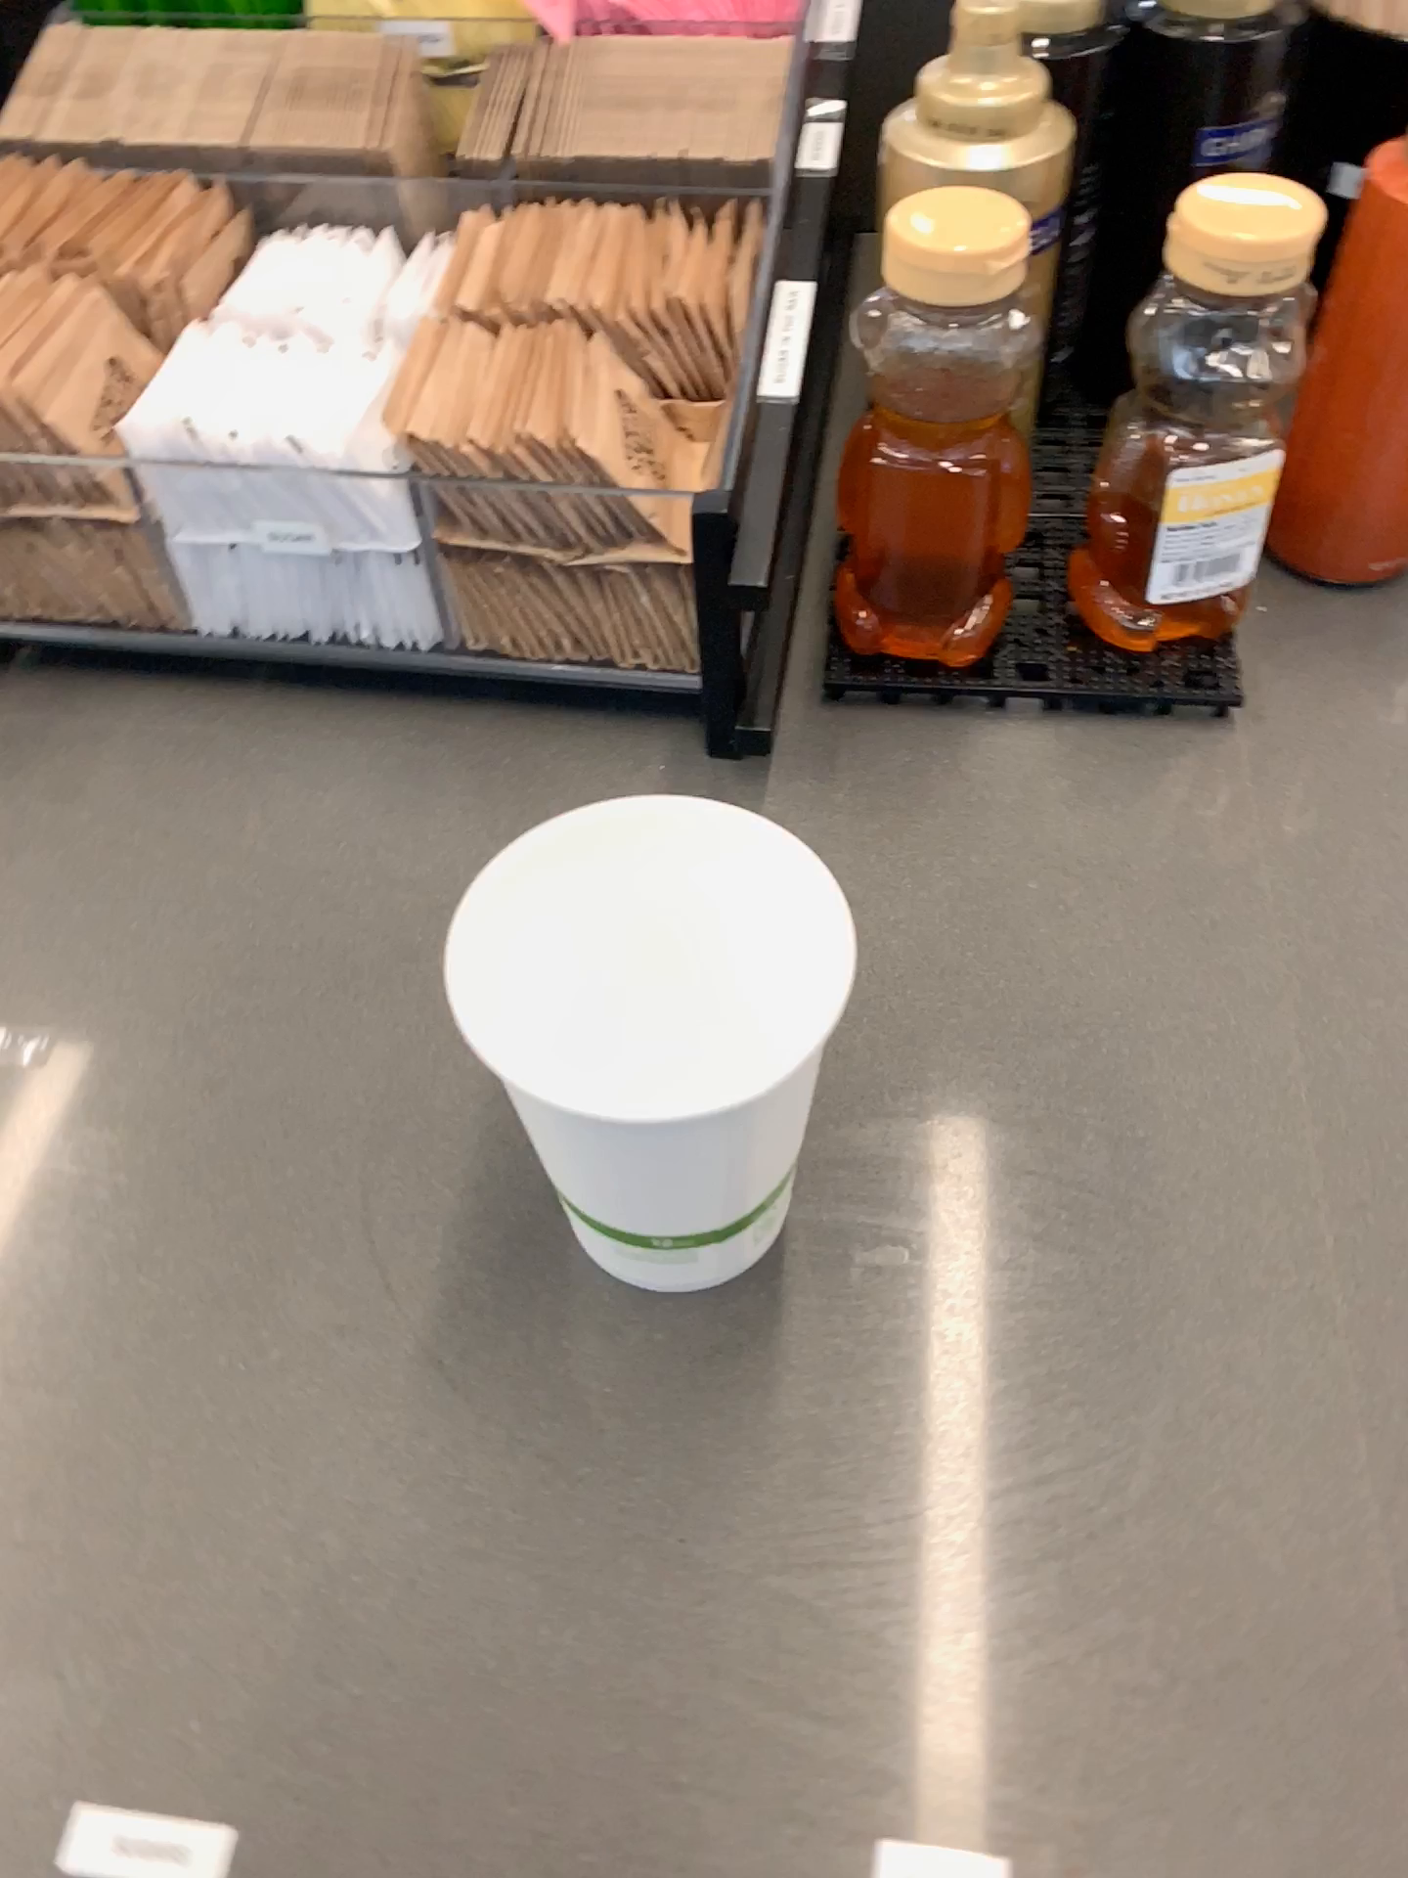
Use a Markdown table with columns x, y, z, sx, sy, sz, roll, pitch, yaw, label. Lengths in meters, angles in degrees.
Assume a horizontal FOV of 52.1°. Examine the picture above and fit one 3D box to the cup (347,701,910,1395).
| x | y | z | sx | sy | sz | roll | pitch | yaw | label |
| --- | --- | --- | --- | --- | --- | --- | --- | --- | --- |
| -0.013 | 0.028 | 0.336 | 0.080 | 0.119 | 0.080 | -1 | 51 | 2 | cup |
